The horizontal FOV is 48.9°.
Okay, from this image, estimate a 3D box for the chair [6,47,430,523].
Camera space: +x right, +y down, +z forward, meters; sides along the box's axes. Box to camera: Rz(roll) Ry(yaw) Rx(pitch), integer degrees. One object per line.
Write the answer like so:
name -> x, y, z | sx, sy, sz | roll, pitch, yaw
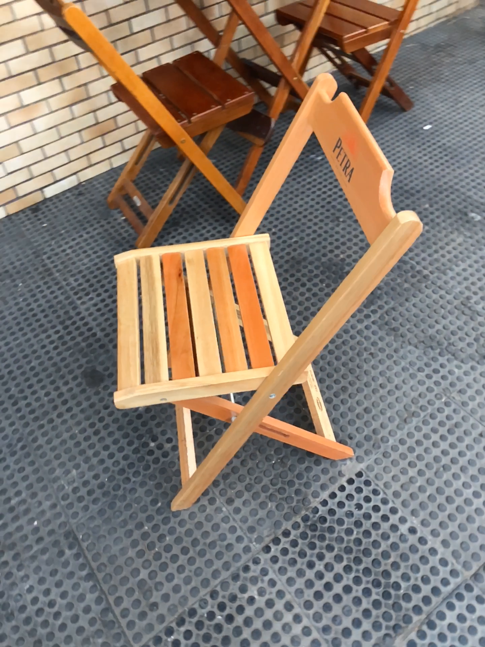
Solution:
chair -> -0.029, -0.025, 1.064 | 0.500, 0.755, 0.483 | -9, 49, -2
